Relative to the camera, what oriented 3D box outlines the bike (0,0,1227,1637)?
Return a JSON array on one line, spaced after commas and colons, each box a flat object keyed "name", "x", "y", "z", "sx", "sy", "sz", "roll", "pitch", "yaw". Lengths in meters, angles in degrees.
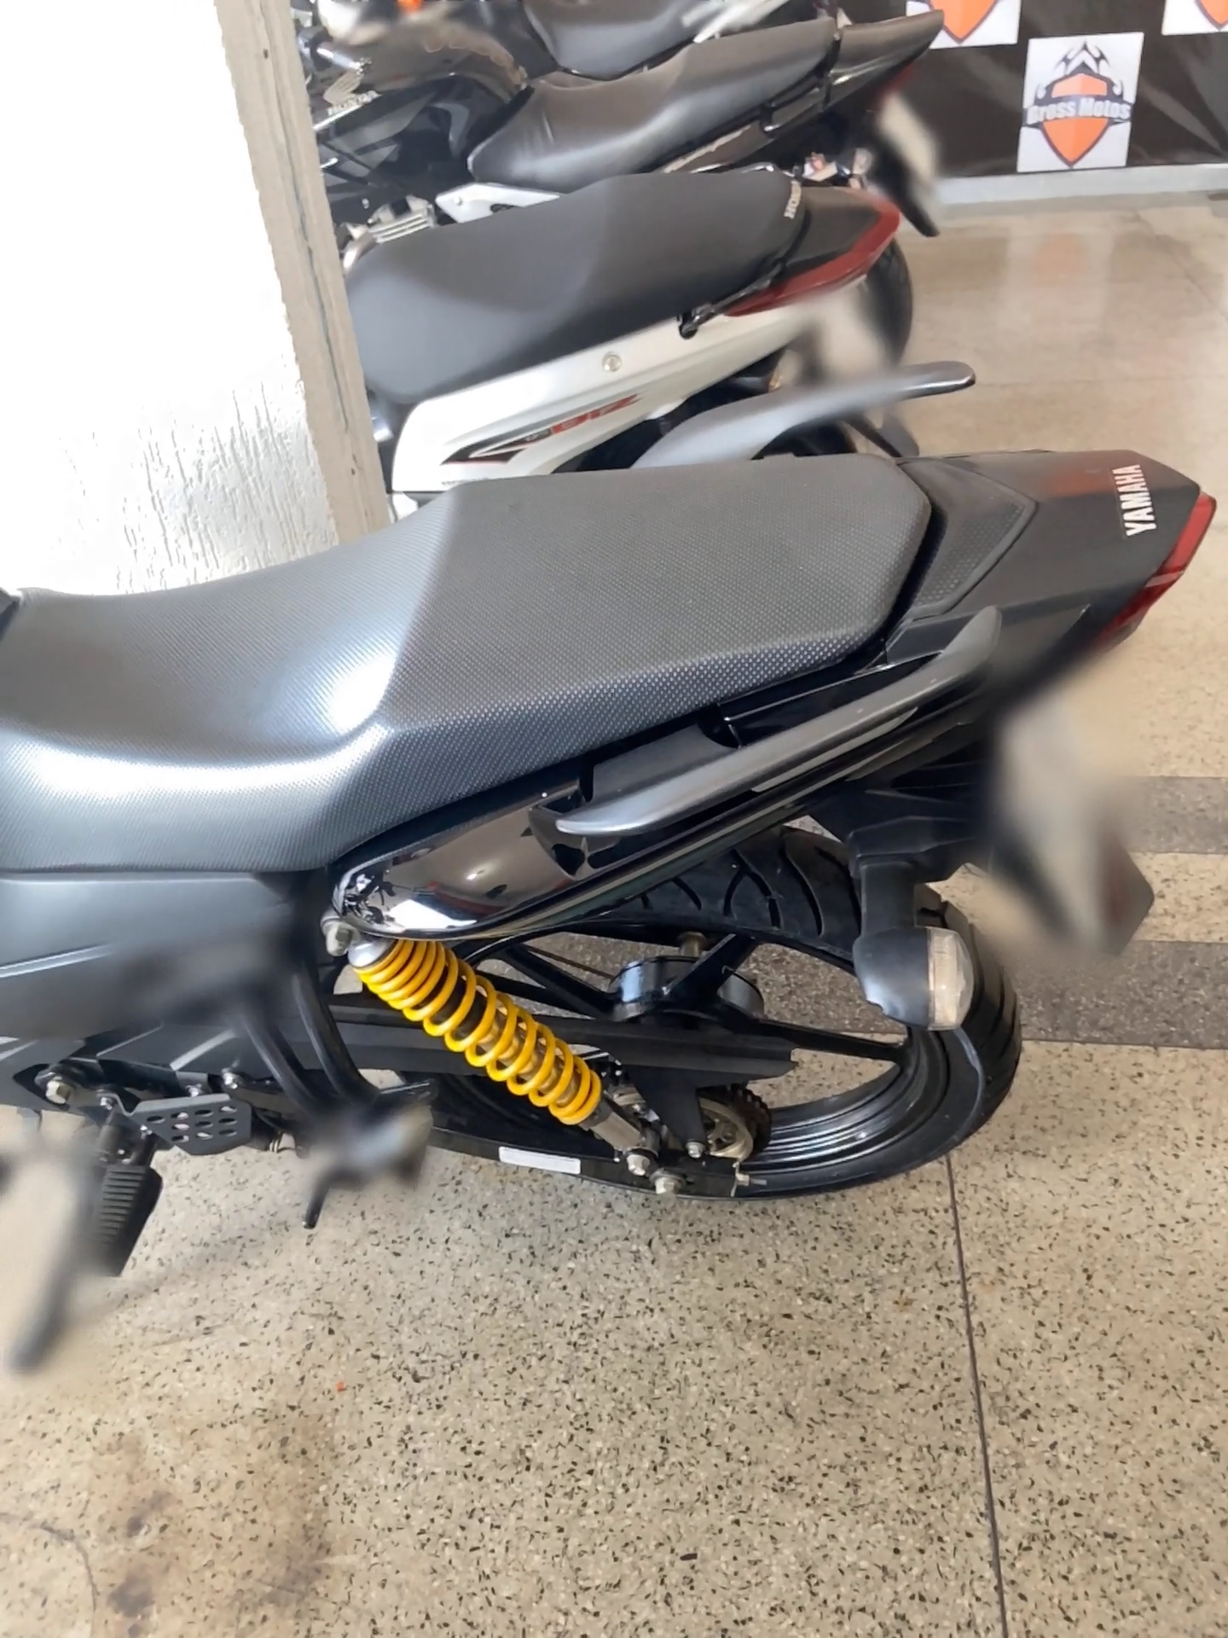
[{"name": "bike", "x": -0.532, "y": 0.157, "z": 0.995, "sx": 2.002, "sy": 1.331, "sz": 0.820, "roll": -3, "pitch": 37, "yaw": 4}]
